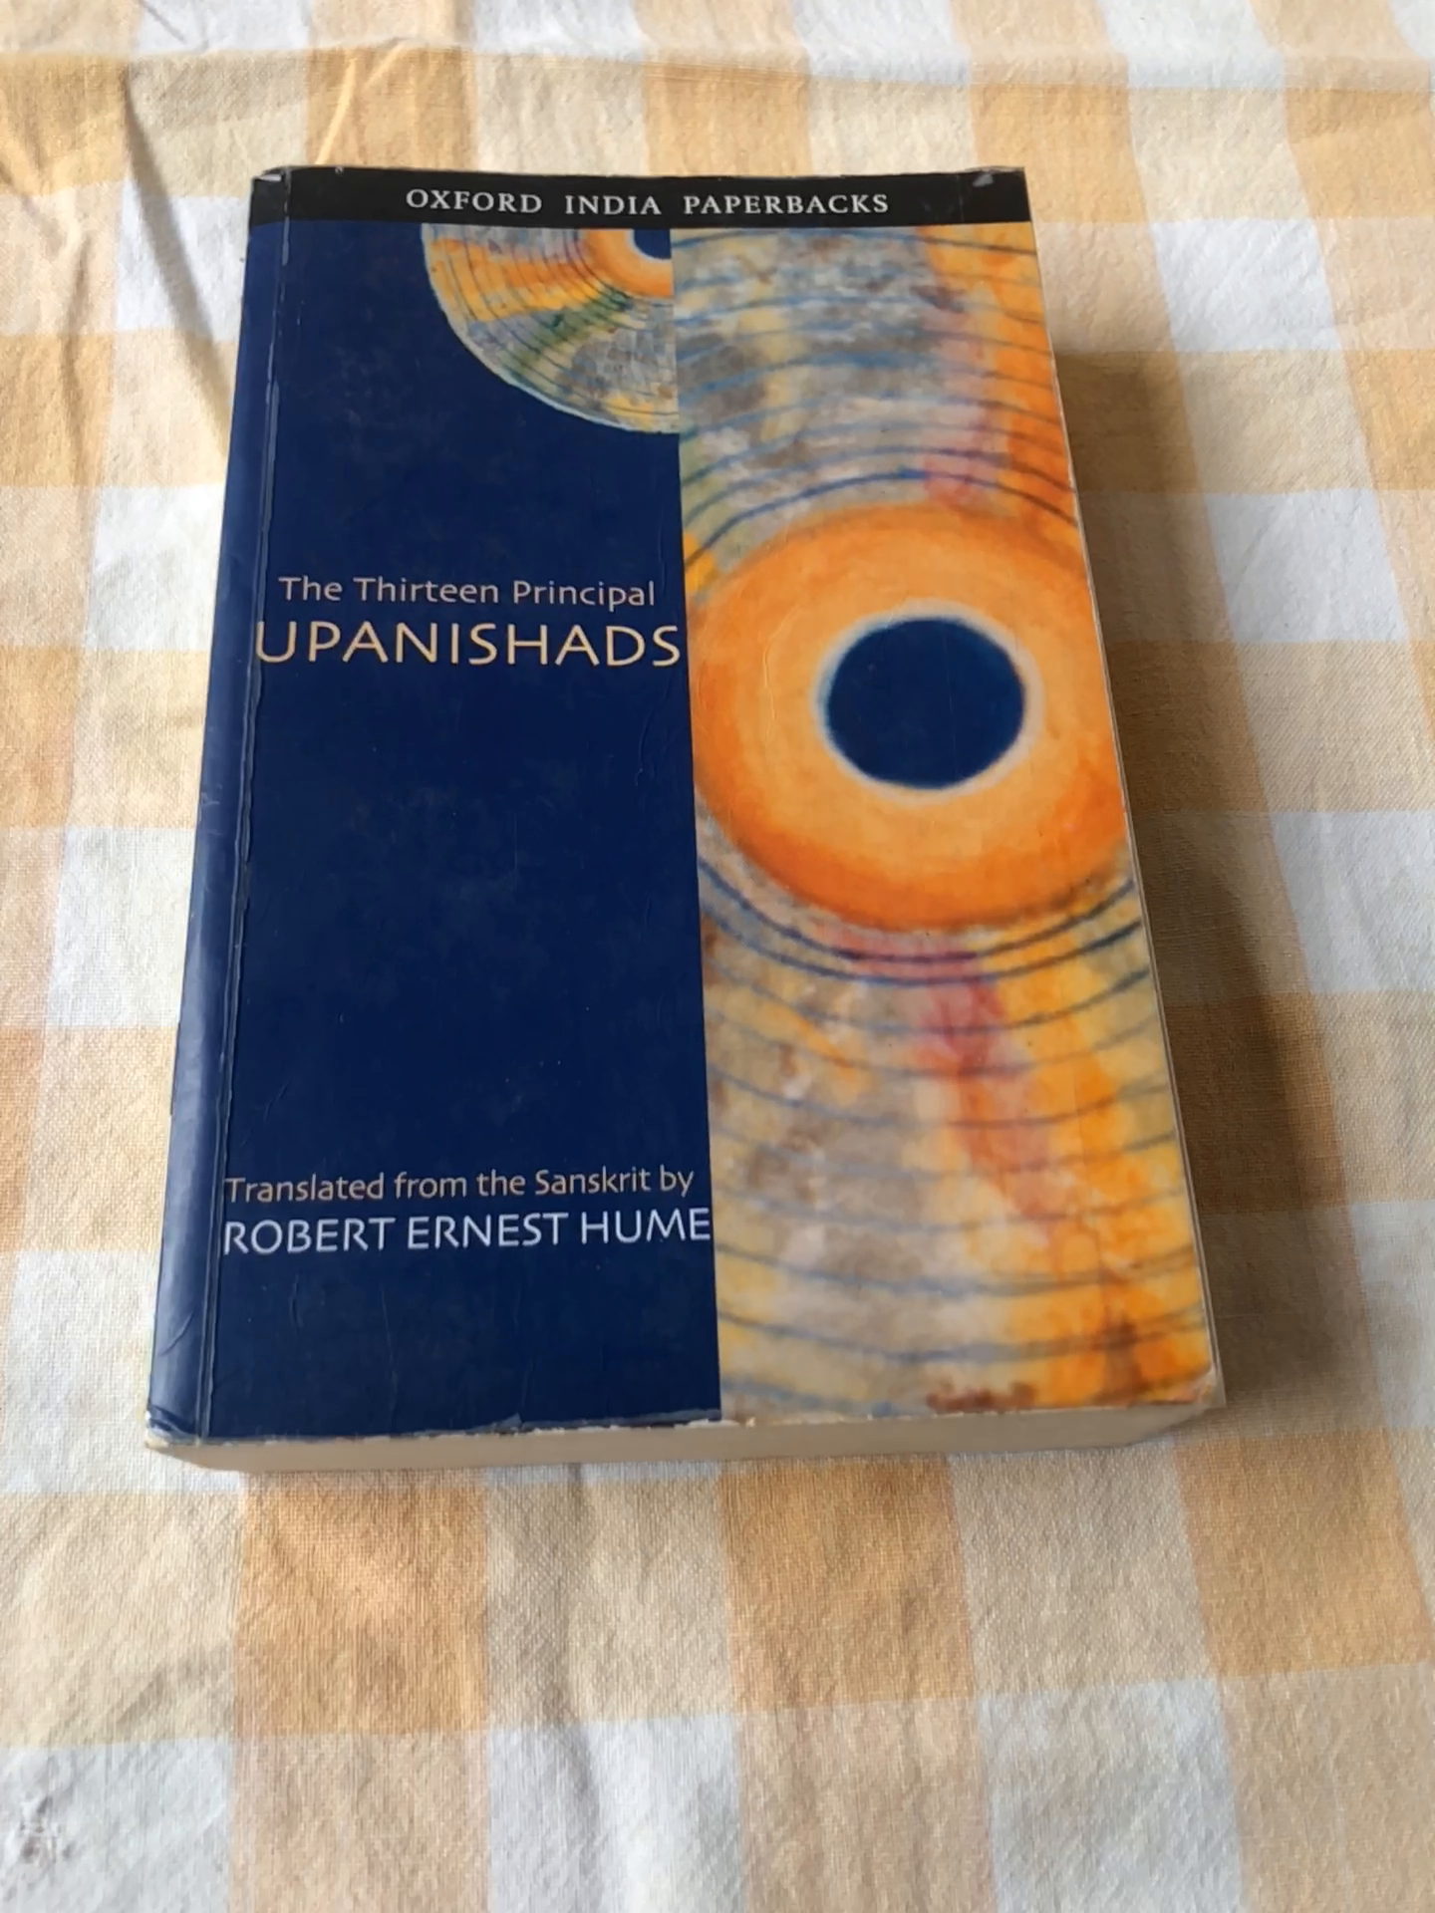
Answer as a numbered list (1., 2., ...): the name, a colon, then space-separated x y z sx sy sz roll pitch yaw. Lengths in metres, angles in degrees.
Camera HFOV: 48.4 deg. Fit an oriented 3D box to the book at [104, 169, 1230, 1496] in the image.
1. book: -0.011 -0.029 0.255 0.140 0.040 0.210 -1 69 -5
